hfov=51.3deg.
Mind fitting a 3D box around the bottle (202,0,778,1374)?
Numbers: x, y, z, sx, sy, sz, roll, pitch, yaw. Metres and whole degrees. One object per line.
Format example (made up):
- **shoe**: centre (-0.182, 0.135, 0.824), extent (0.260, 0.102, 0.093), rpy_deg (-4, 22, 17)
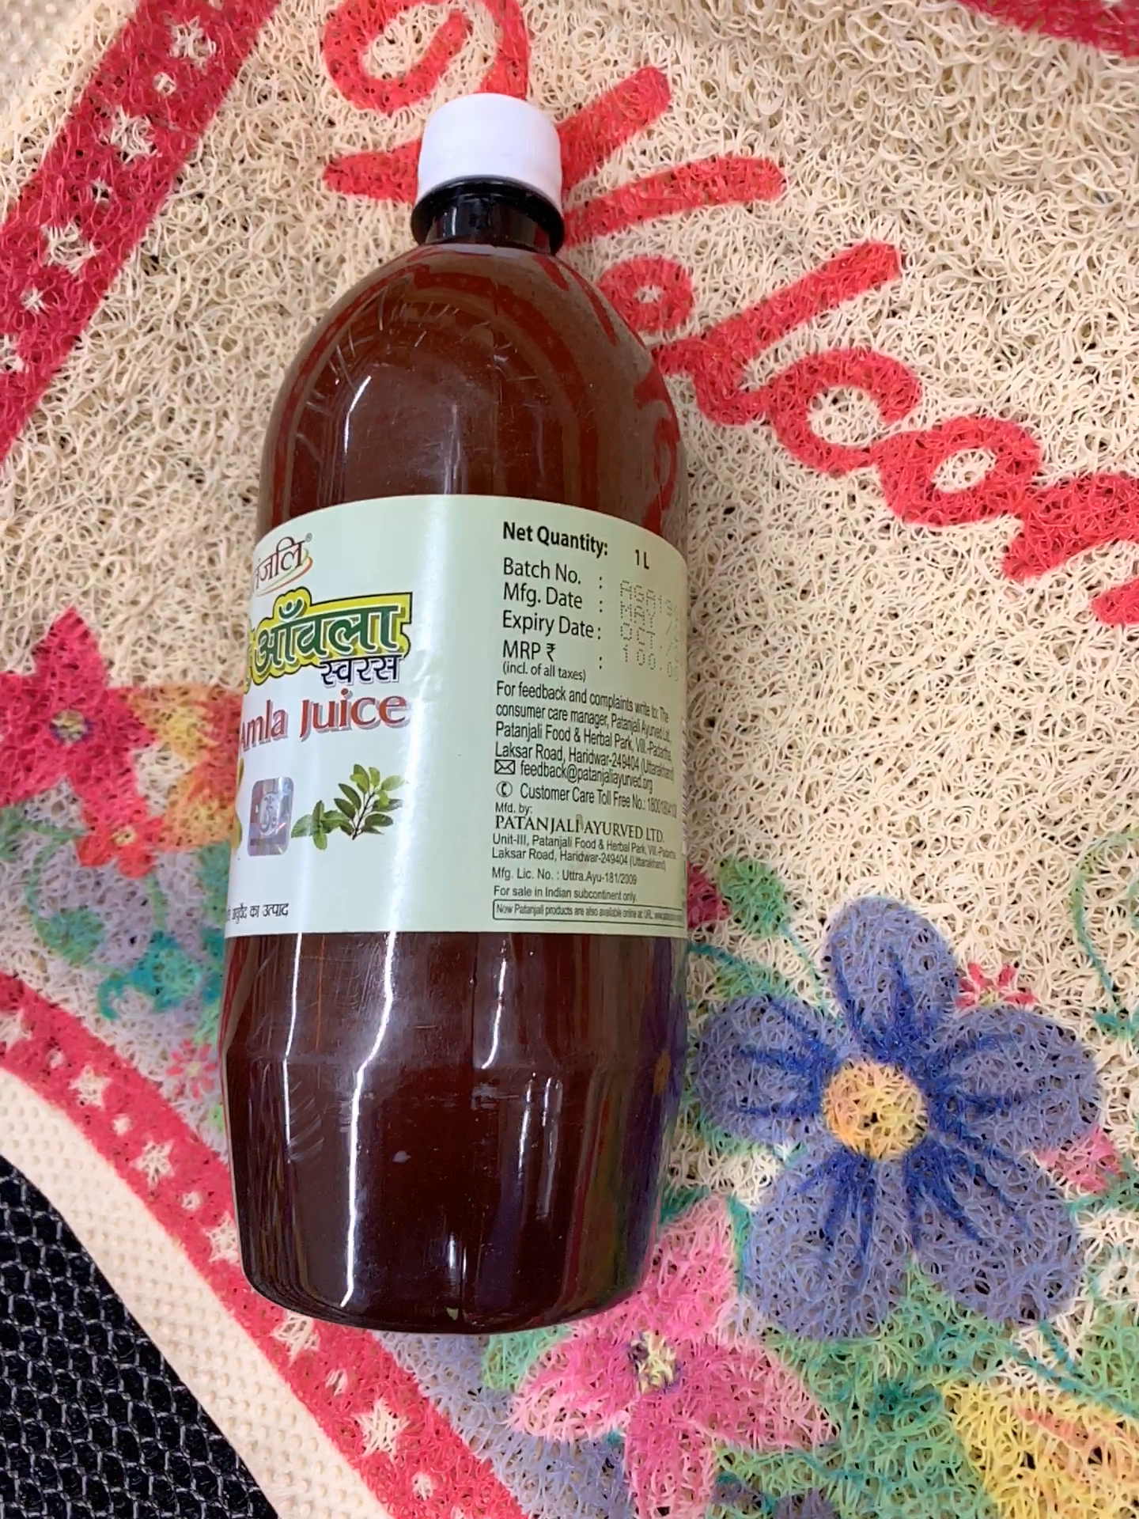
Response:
- **bottle**: centre (-0.016, -0.033, 0.227), extent (0.080, 0.080, 0.250), rpy_deg (5, 79, -19)
